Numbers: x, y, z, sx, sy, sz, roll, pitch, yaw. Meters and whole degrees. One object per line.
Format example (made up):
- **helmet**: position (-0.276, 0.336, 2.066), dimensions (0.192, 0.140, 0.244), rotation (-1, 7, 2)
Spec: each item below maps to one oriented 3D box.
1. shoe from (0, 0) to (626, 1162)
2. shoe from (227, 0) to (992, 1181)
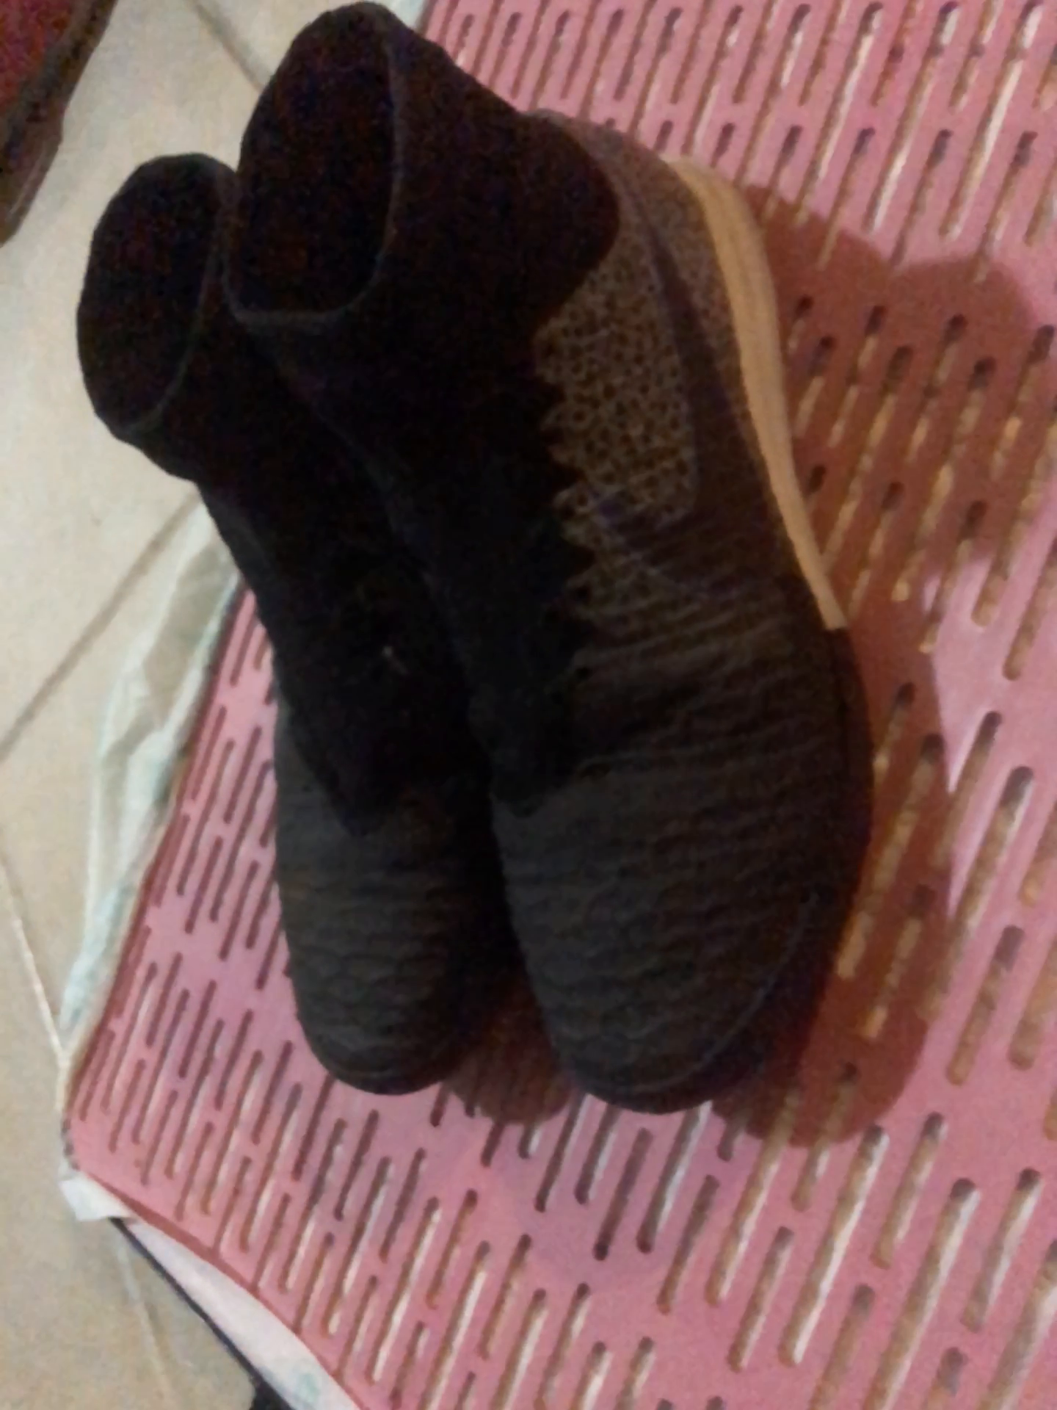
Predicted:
- **shoe**: position (-0.054, -0.027, 0.347), dimensions (0.100, 0.149, 0.270), rotation (-6, 78, 36)
- **shoe**: position (0.020, -0.035, 0.292), dimensions (0.100, 0.149, 0.260), rotation (-14, 74, 34)
